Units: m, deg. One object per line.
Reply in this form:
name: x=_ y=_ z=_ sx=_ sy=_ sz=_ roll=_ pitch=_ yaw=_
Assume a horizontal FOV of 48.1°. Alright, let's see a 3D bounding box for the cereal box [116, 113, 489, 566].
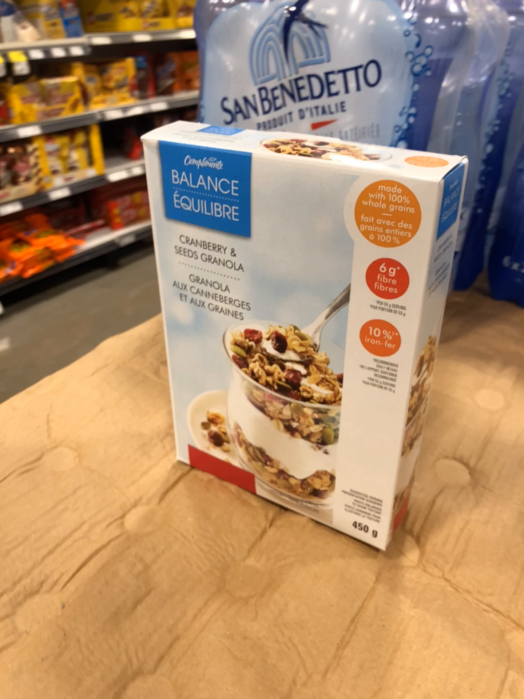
cereal box: x=0.014 y=-0.007 z=0.345 sx=0.180 sy=0.229 sz=0.050 roll=17 pitch=35 yaw=27
